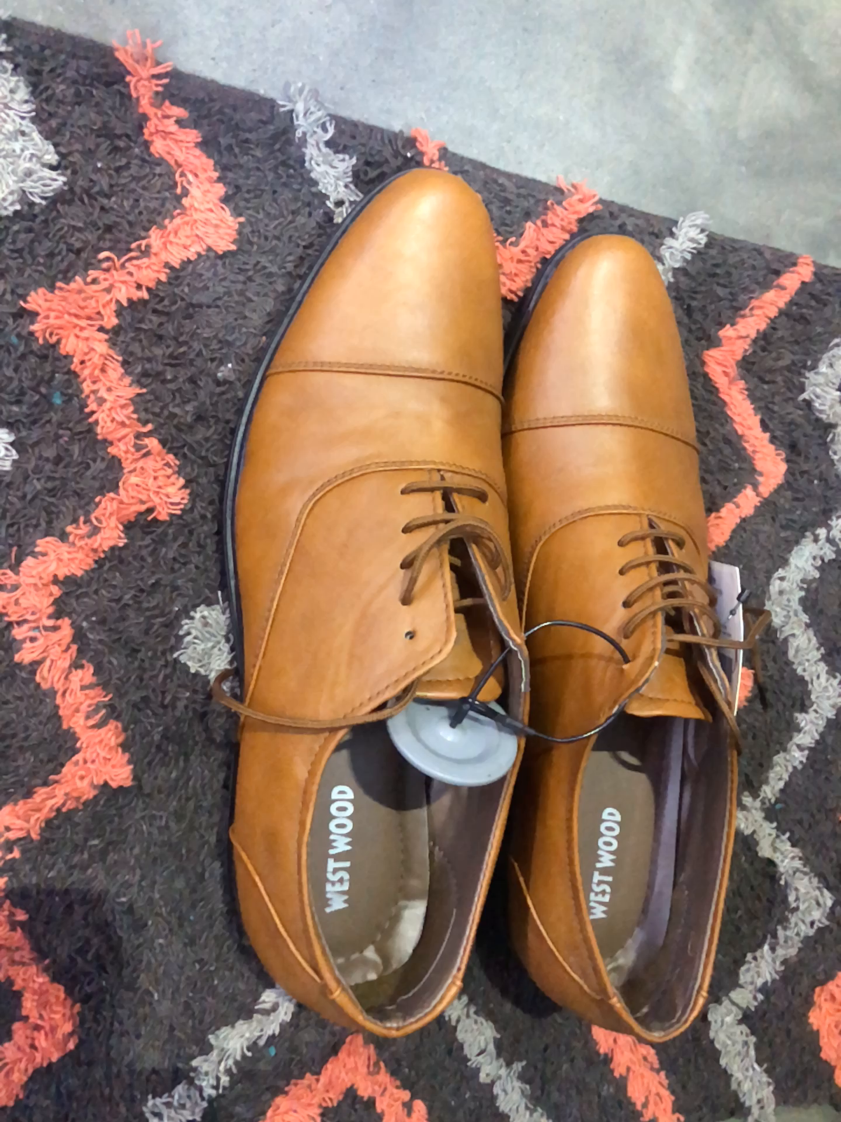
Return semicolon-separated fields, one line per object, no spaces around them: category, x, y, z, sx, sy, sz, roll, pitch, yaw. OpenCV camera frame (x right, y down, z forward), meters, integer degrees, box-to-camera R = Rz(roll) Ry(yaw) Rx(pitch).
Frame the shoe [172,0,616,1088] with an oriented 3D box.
shoe;-0.011;-0.006;0.312;0.110;0.070;0.310;5;89;-21

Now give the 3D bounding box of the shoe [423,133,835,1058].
shoe;0.077;0.013;0.358;0.110;0.080;0.300;5;89;-21
